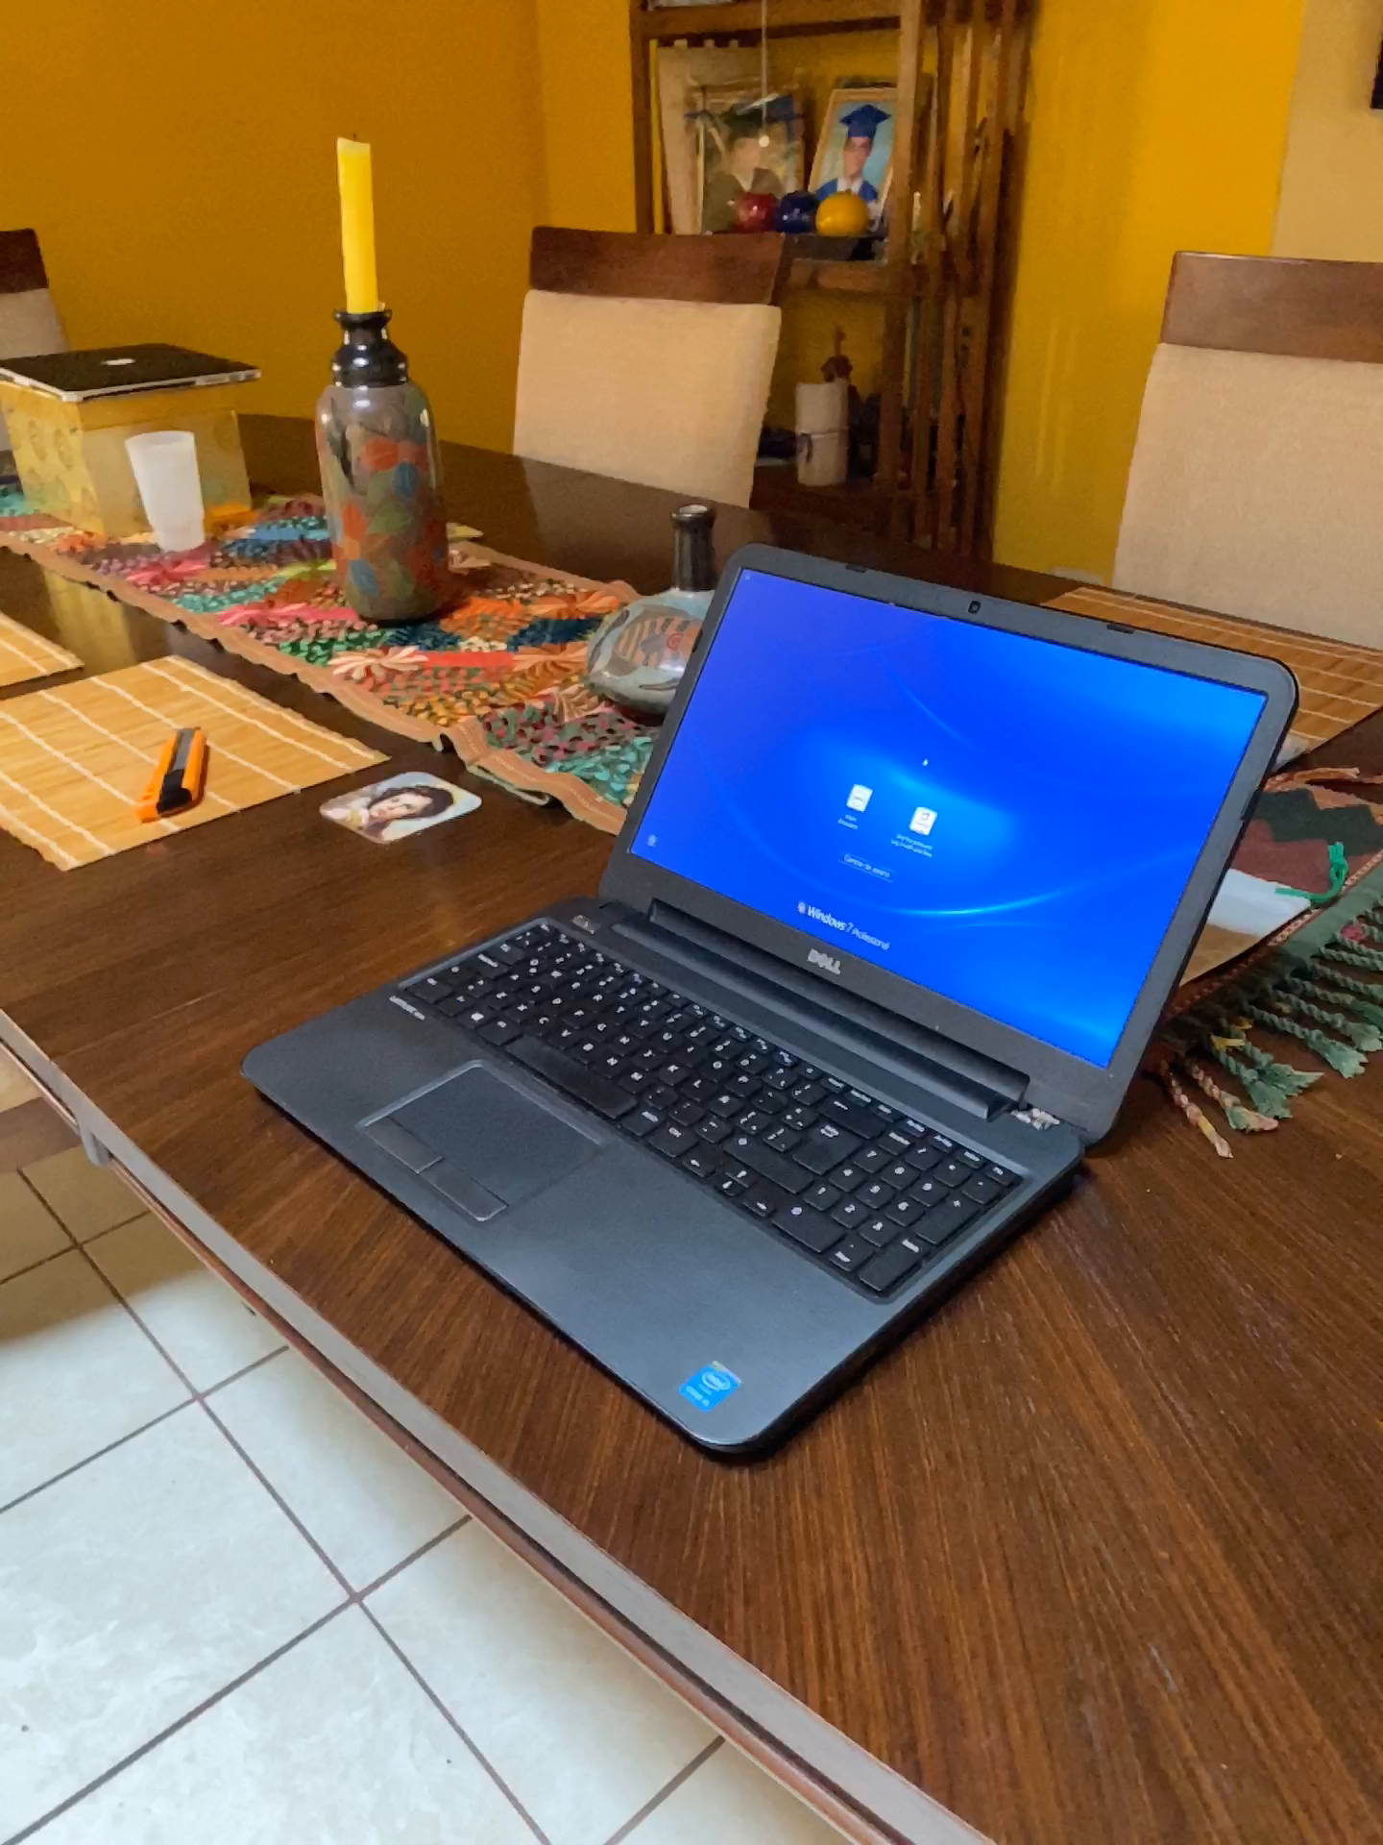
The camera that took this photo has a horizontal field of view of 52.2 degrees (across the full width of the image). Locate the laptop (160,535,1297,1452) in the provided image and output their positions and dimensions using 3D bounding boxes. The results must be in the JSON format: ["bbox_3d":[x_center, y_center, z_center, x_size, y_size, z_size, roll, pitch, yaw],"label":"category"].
[{"bbox_3d":[0.022,-0.025,0.715,0.368,0.194,0.396,25,40,38],"label":"laptop"}]
